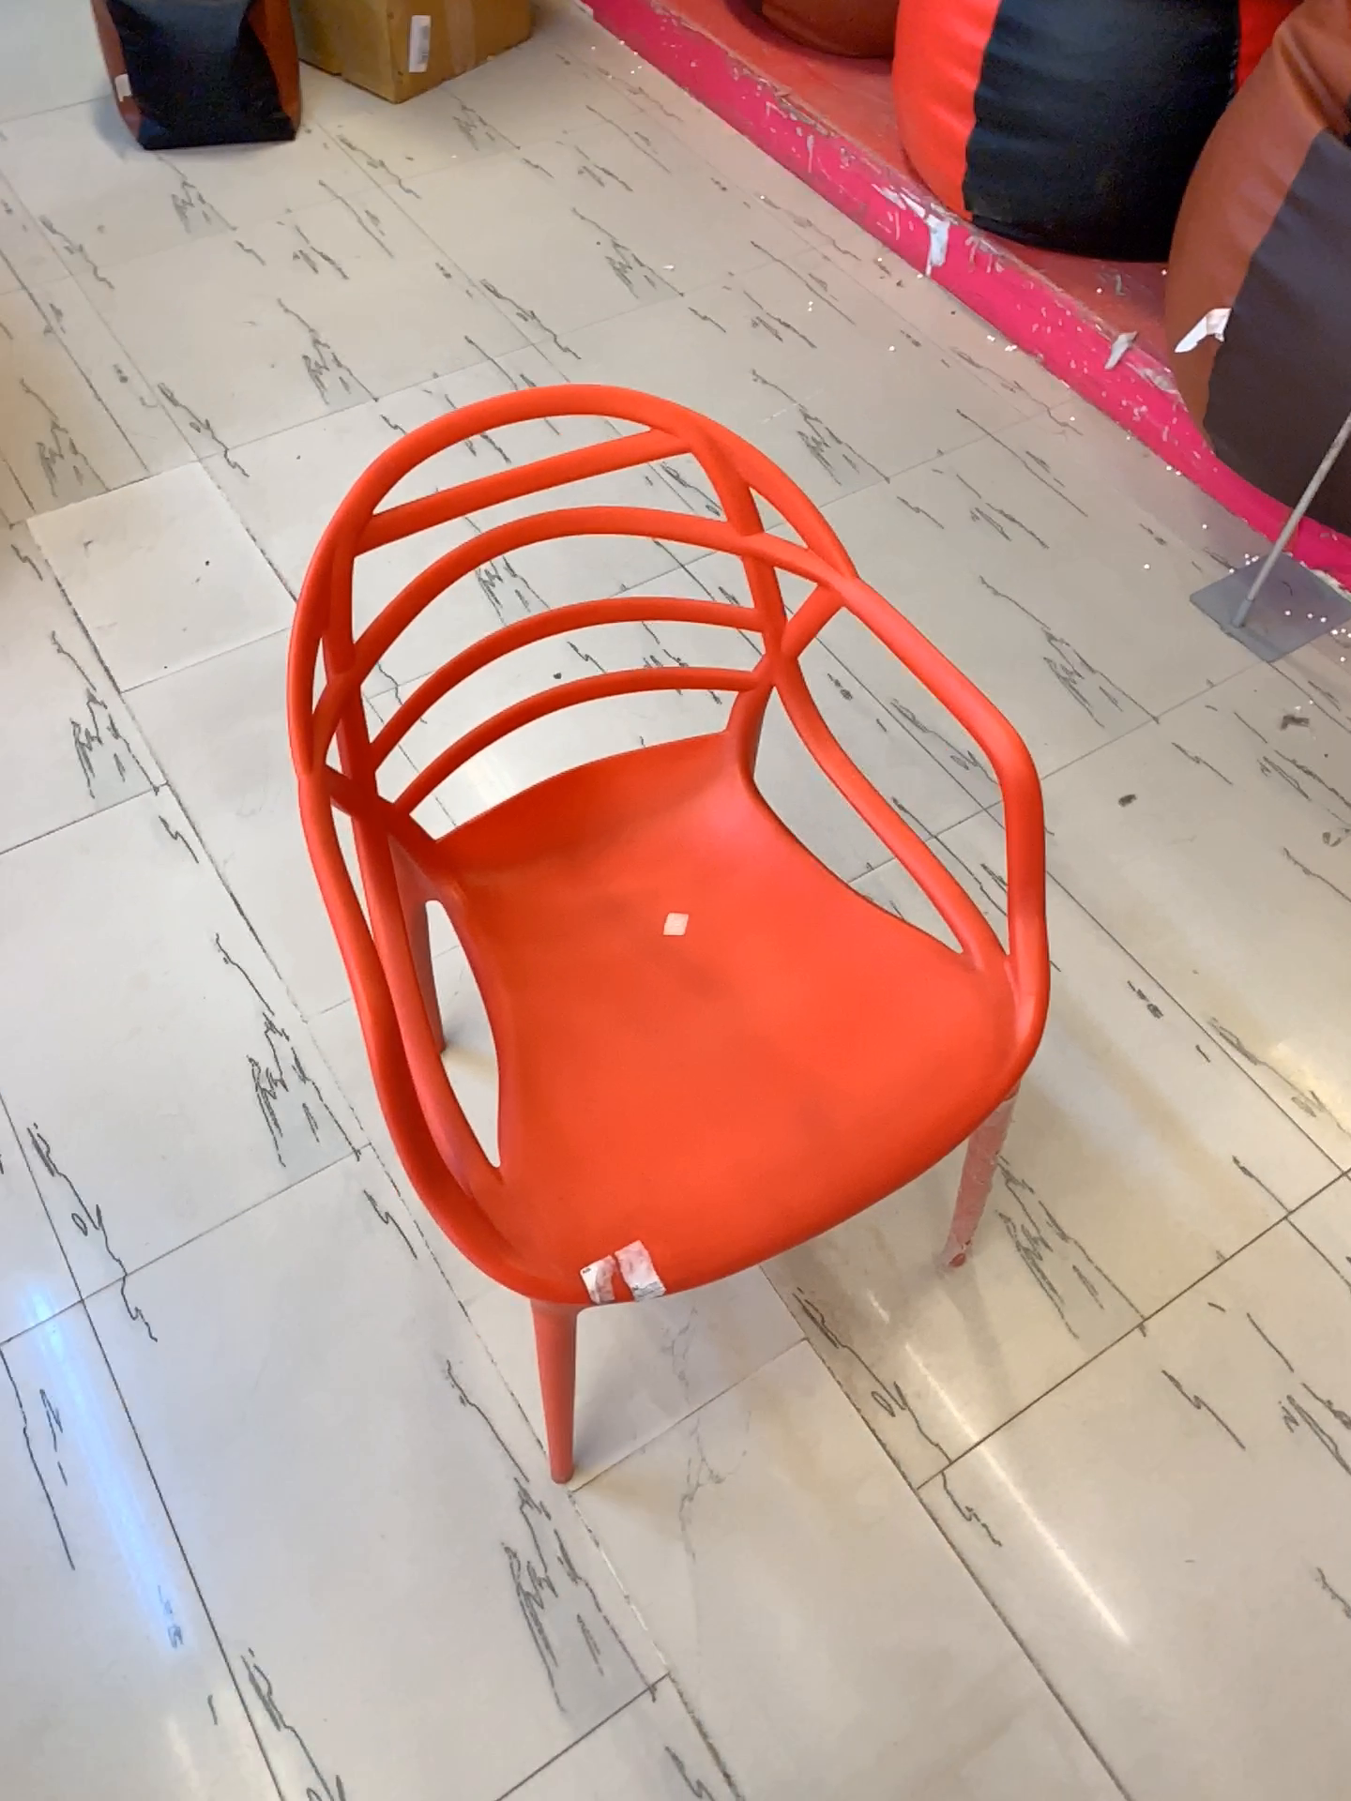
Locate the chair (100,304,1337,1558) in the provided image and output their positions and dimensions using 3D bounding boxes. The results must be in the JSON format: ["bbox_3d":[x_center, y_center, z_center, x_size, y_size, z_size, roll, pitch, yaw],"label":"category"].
[{"bbox_3d":[-0.014,0.036,1.144,0.551,0.656,0.633,-24,58,-17],"label":"chair"}]
